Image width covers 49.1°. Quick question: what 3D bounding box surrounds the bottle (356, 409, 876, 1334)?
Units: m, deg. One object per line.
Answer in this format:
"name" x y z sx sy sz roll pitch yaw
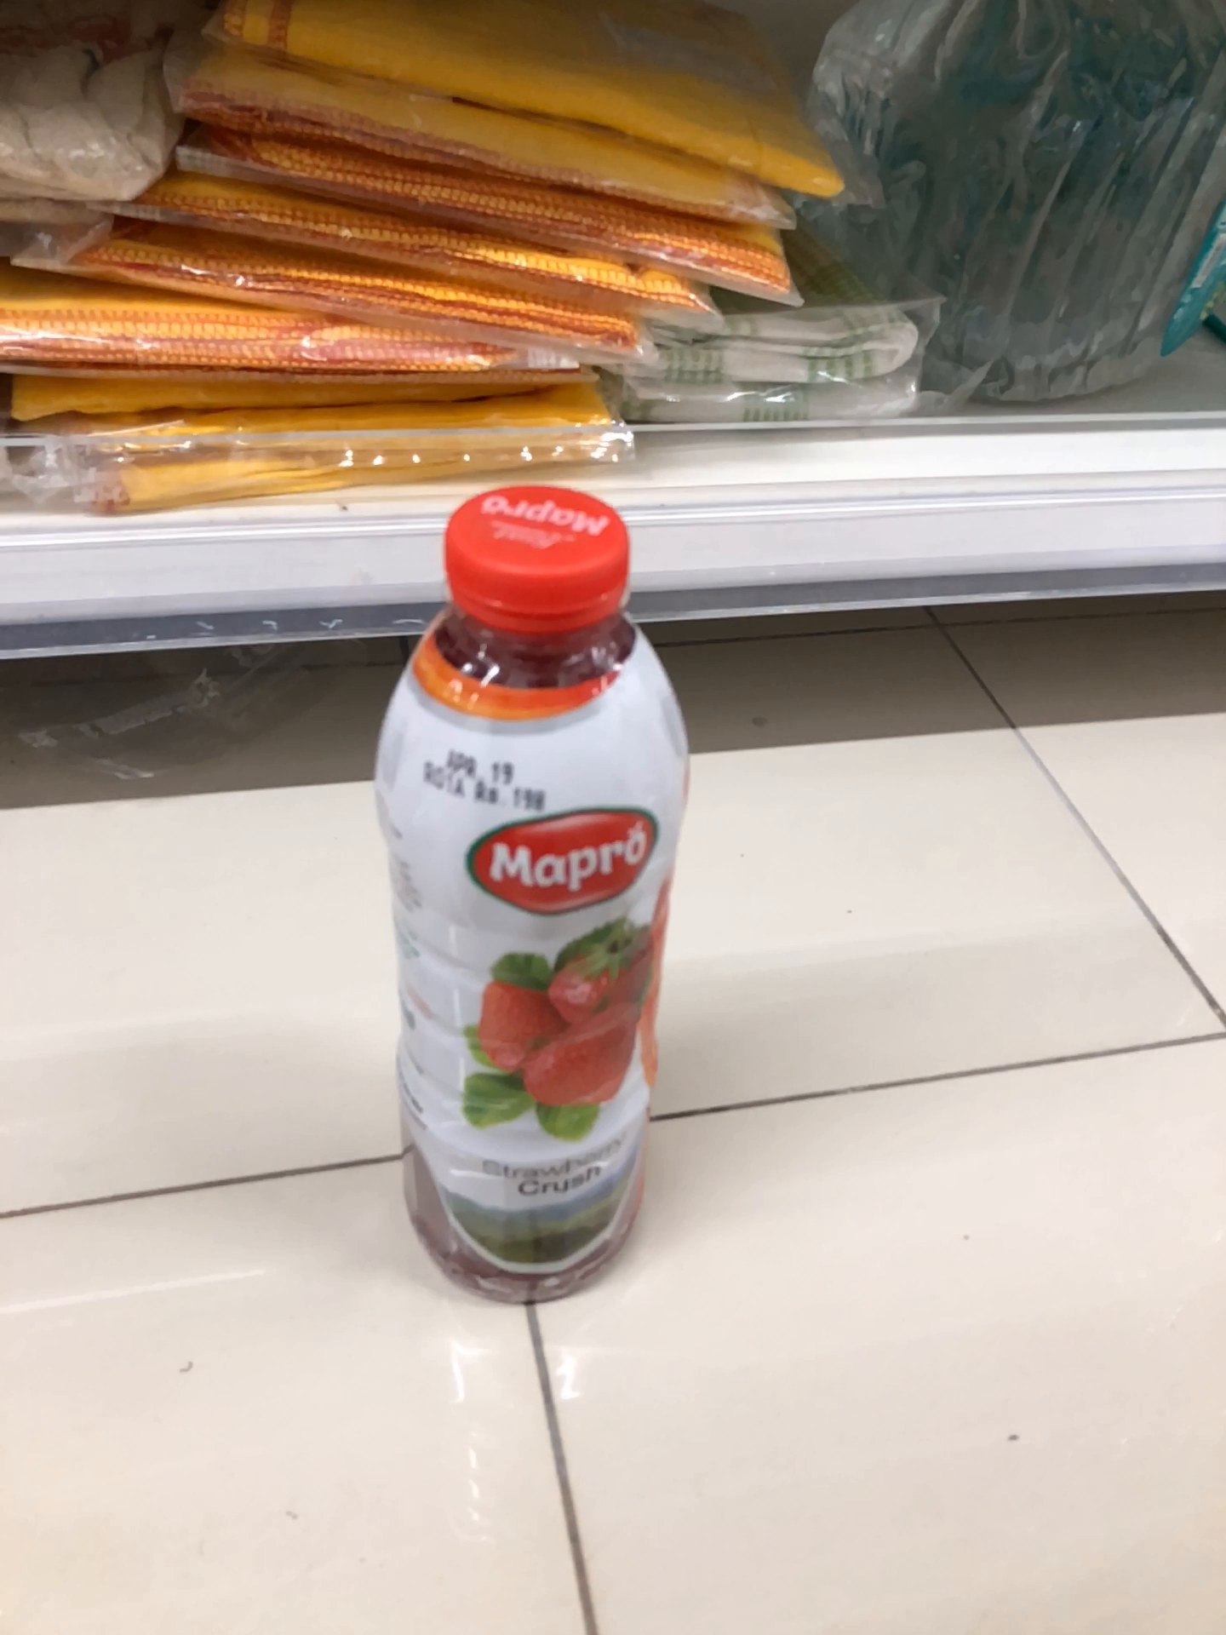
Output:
"bottle" -0.012 0.029 0.356 0.090 0.248 0.080 -6 42 -13
